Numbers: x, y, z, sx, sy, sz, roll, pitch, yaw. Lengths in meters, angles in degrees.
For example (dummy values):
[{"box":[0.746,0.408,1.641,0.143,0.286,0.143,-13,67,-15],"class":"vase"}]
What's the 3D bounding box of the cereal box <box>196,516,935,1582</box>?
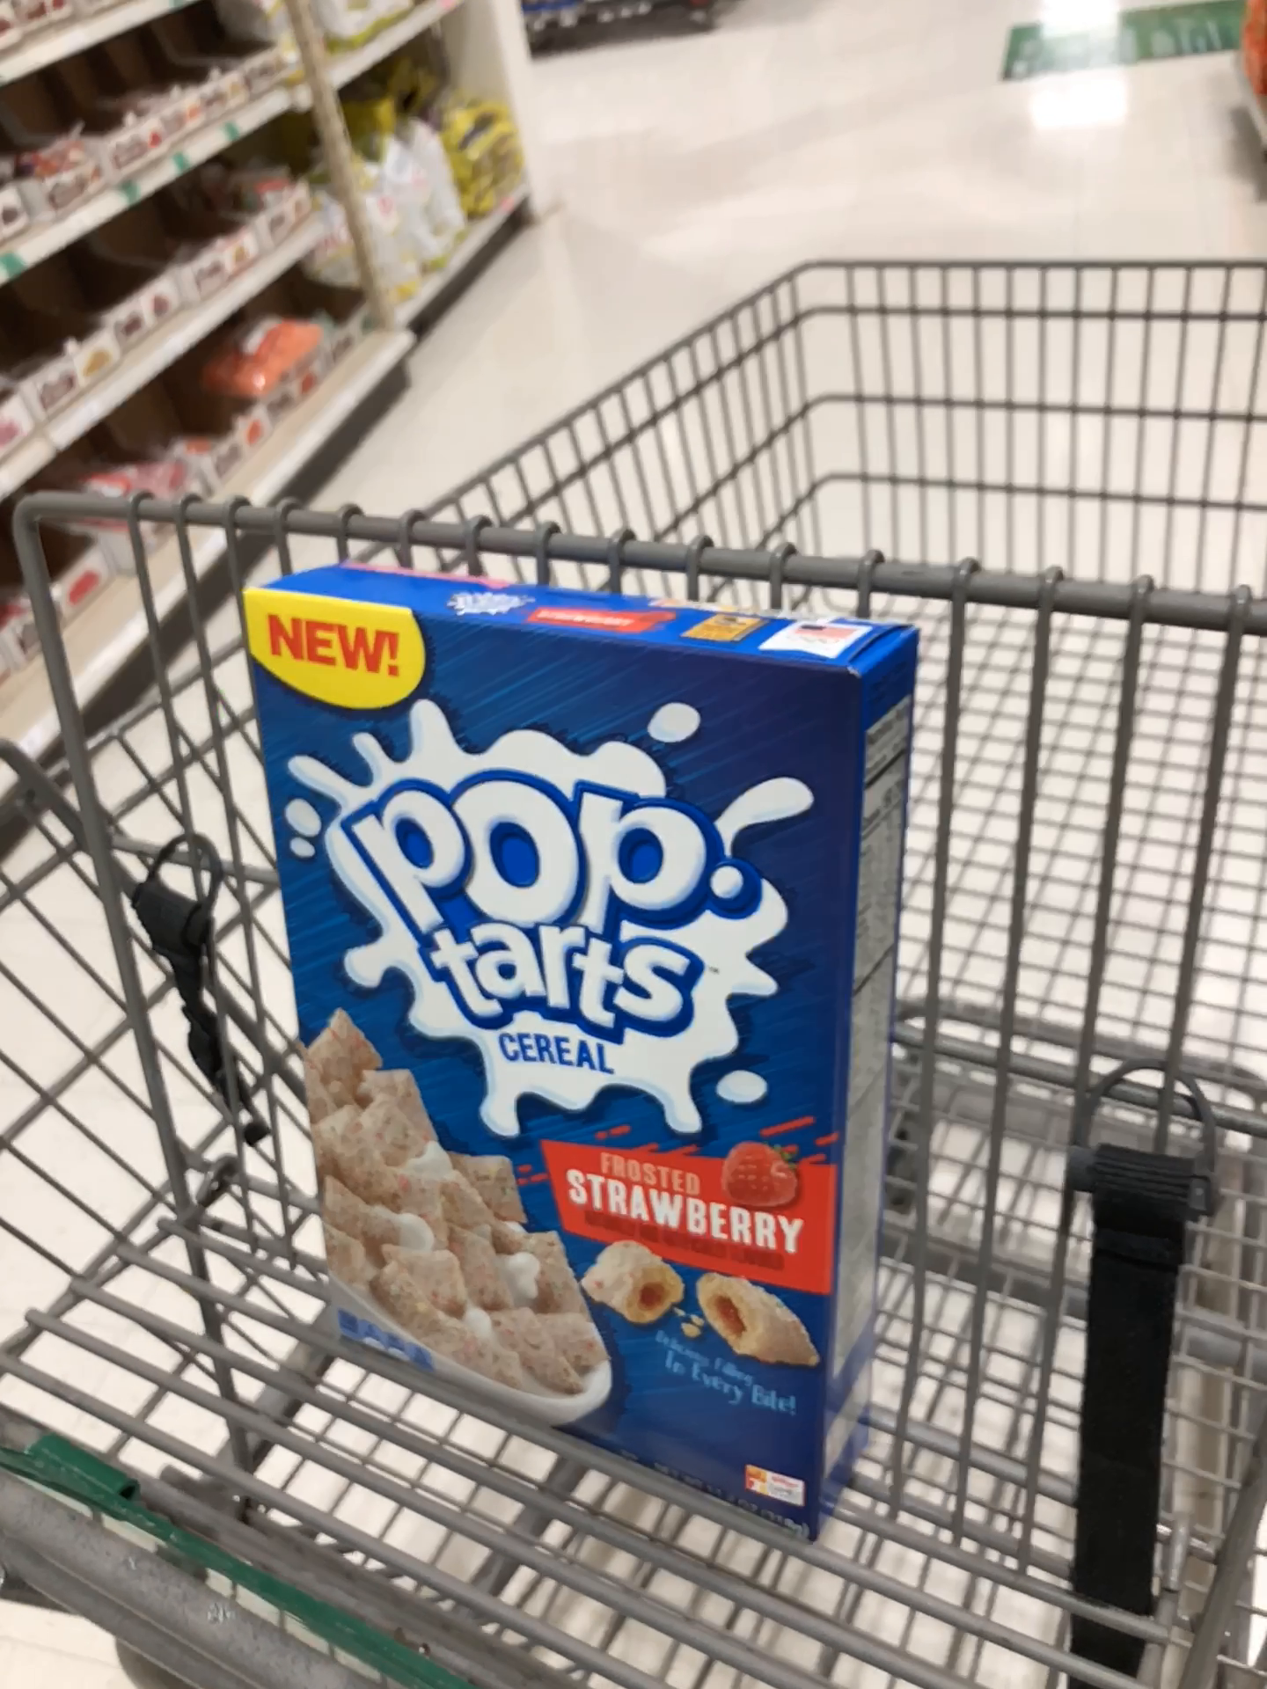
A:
[{"box":[-0.023,0.054,0.424,0.200,0.280,0.050,12,25,30],"class":"cereal box"}]
